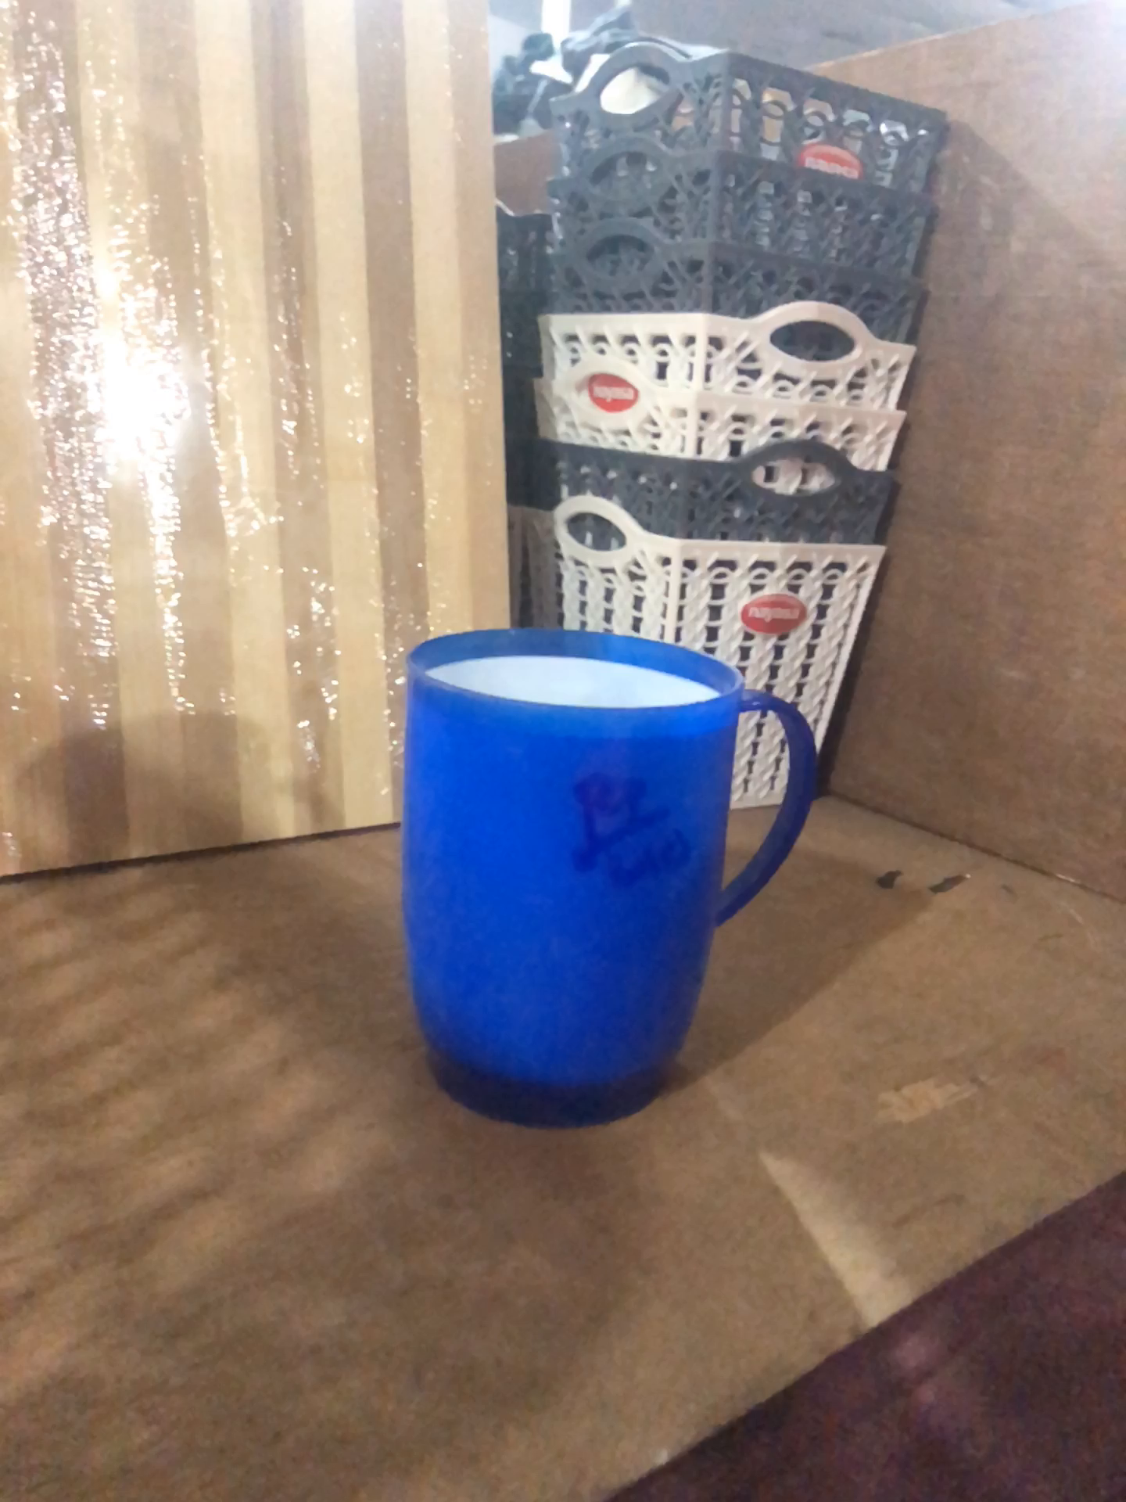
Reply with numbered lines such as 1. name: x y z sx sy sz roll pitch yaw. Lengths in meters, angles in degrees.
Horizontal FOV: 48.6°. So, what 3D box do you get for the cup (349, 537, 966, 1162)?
1. cup: 0.017 0.012 0.283 0.110 0.110 0.070 -6 20 -29
